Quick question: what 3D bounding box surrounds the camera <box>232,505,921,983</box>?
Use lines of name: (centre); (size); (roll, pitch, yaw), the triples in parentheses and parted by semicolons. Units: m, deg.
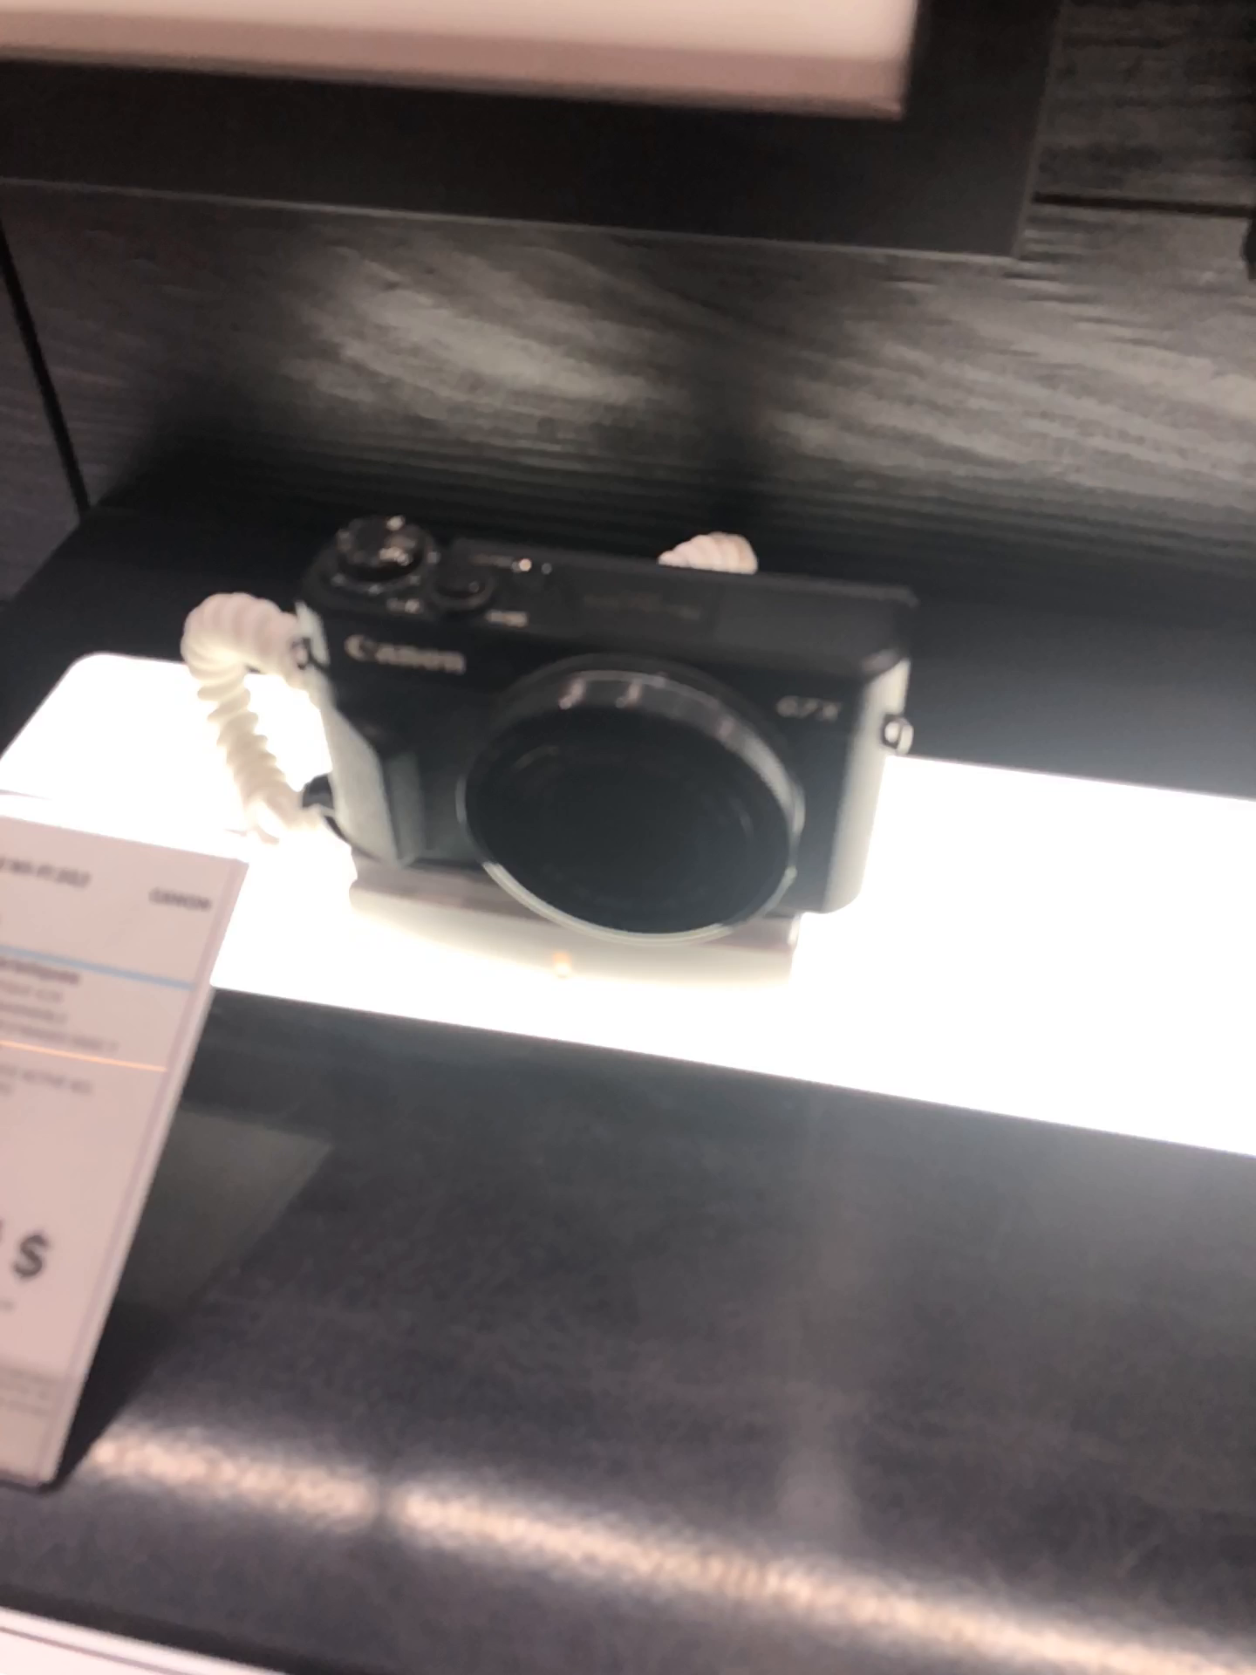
camera: (-0.006, -0.016, 0.230); (0.100, 0.056, 0.038); (8, 44, 9)
